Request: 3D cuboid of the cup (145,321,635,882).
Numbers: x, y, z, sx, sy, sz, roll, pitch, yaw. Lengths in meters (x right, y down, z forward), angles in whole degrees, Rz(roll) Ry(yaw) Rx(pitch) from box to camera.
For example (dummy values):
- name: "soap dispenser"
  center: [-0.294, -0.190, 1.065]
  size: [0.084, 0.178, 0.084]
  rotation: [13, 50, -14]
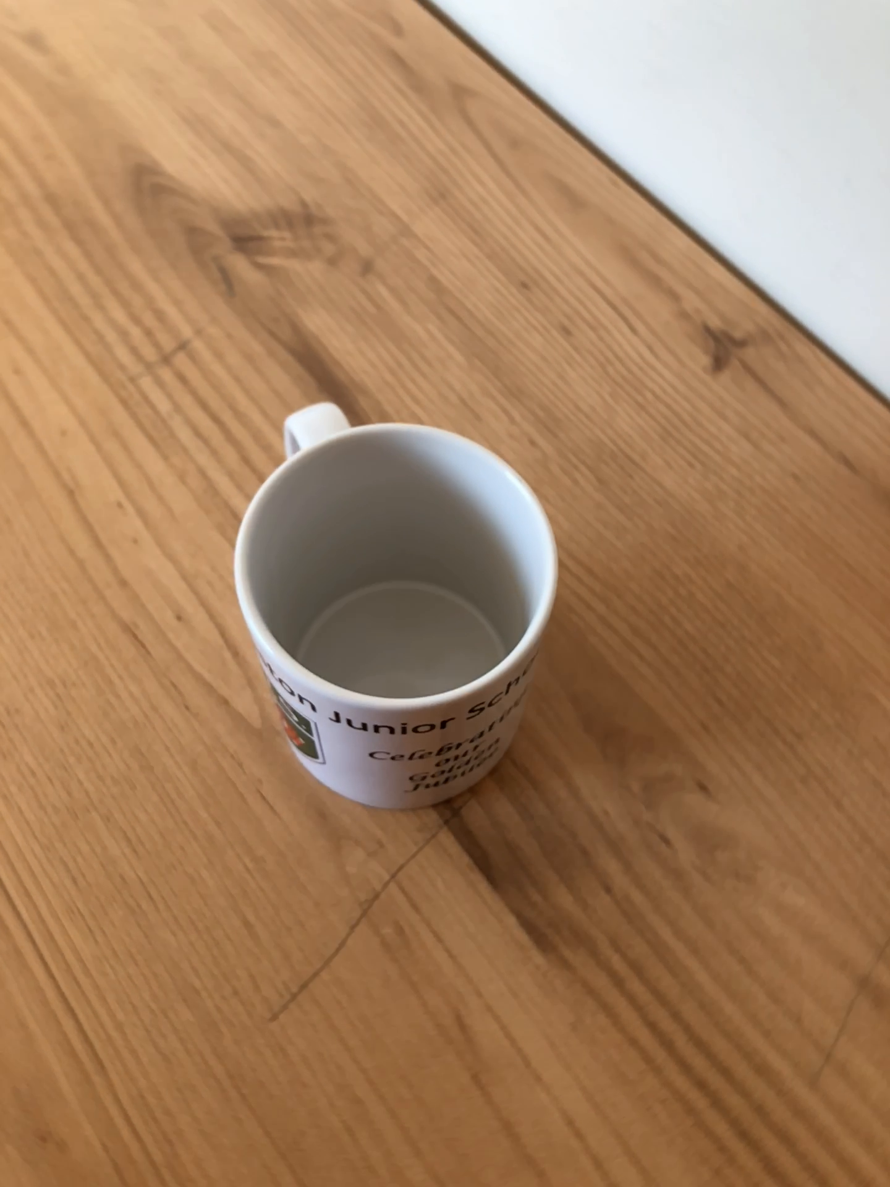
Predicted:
- name: "cup"
  center: [-0.019, 0.004, 0.296]
  size: [0.083, 0.096, 0.110]
  rotation: [-25, 63, -16]
